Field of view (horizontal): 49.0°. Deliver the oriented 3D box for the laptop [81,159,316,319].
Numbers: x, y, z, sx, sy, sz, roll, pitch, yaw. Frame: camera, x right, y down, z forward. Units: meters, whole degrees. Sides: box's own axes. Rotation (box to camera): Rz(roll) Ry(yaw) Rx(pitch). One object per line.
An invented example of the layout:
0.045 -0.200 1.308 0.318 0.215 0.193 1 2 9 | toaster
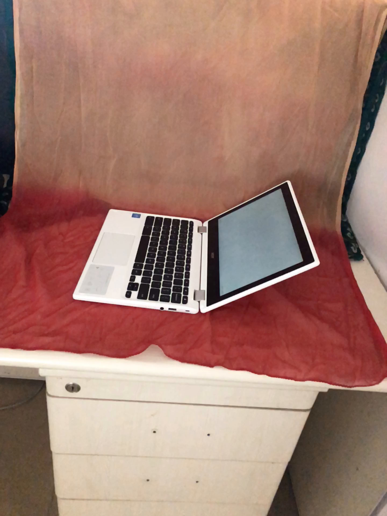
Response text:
0.006 -0.048 0.743 0.337 0.112 0.264 7 34 -1 | laptop
